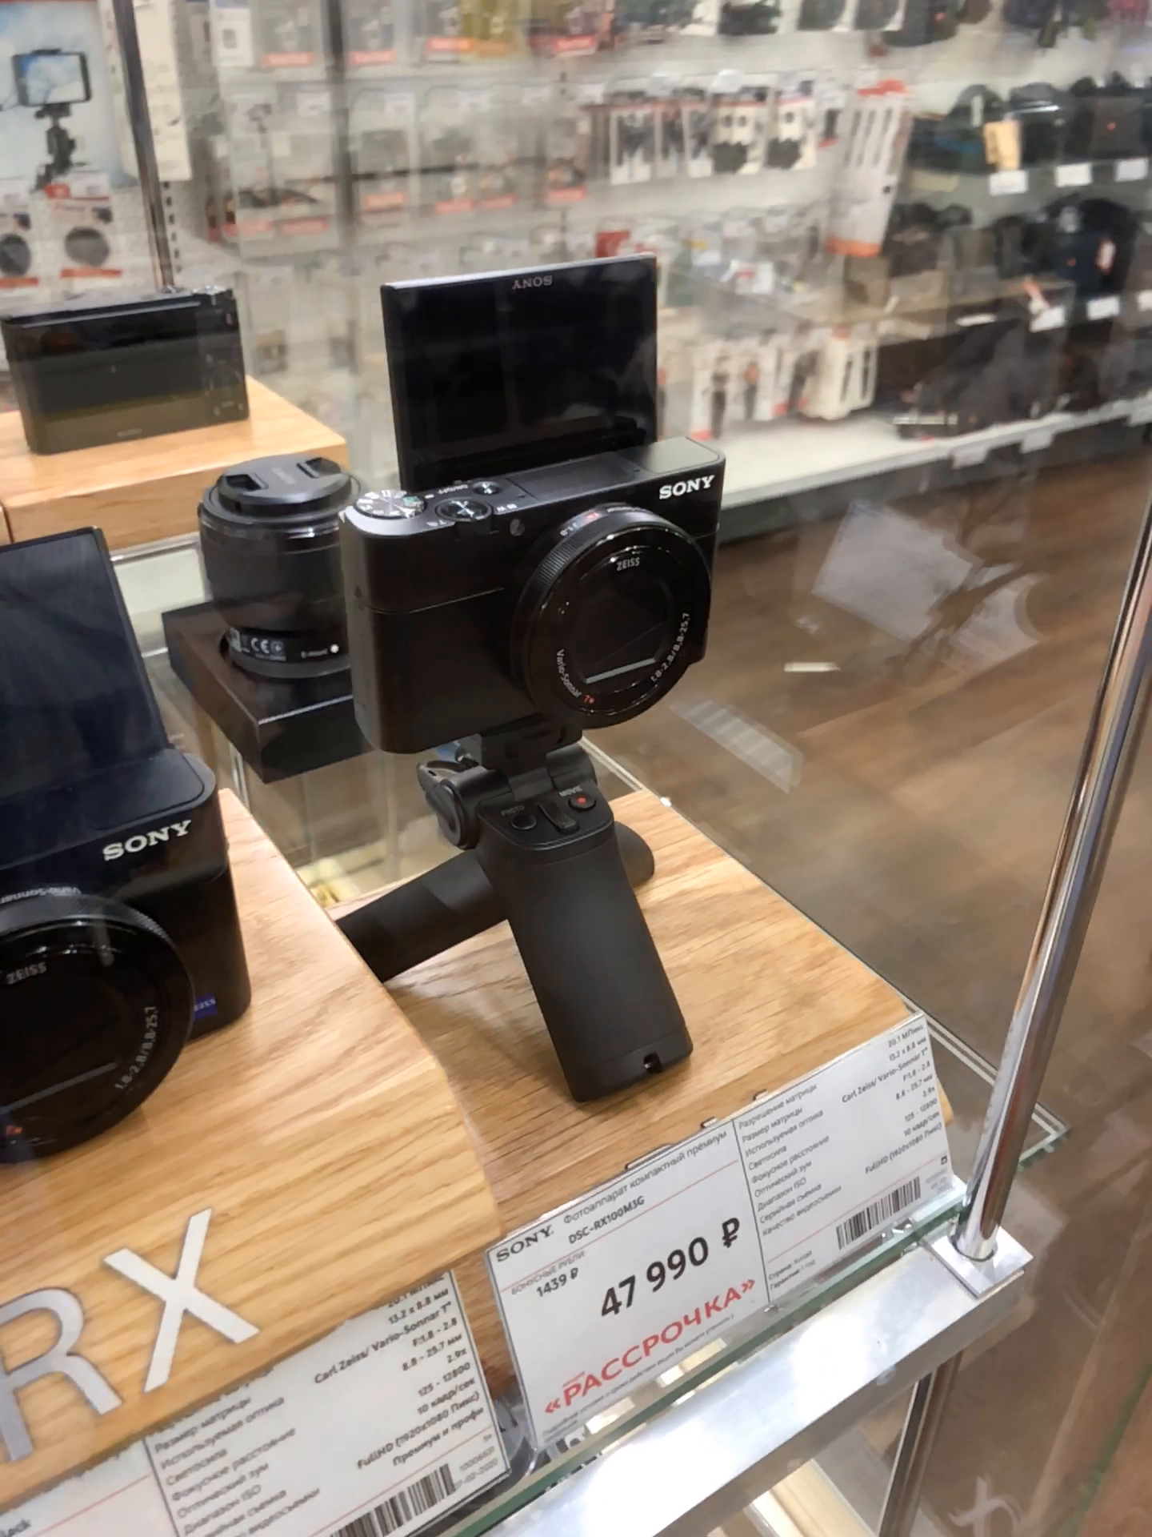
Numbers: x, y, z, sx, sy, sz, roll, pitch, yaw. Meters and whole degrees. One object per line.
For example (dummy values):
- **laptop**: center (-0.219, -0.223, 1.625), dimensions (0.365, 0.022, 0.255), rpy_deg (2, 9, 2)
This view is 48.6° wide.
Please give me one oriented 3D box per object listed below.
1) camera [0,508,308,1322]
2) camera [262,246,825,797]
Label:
- **camera**: center (-0.119, 0.020, 0.236), dimensions (0.109, 0.097, 0.070), rpy_deg (-18, 37, -28)
- **camera**: center (-0.007, -0.064, 0.310), dimensions (0.109, 0.097, 0.062), rpy_deg (-18, 37, -28)
